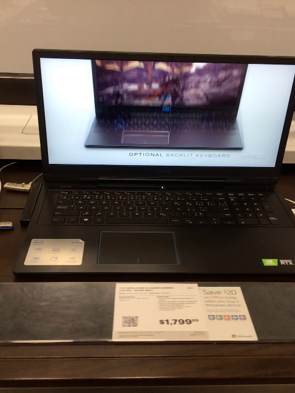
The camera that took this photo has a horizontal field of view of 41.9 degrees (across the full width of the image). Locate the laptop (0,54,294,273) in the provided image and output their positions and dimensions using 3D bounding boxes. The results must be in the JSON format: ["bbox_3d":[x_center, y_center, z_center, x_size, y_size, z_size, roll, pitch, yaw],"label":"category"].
[{"bbox_3d":[0.037,-0.063,0.587,0.437,0.227,0.293,0,37,-3],"label":"laptop"}]
